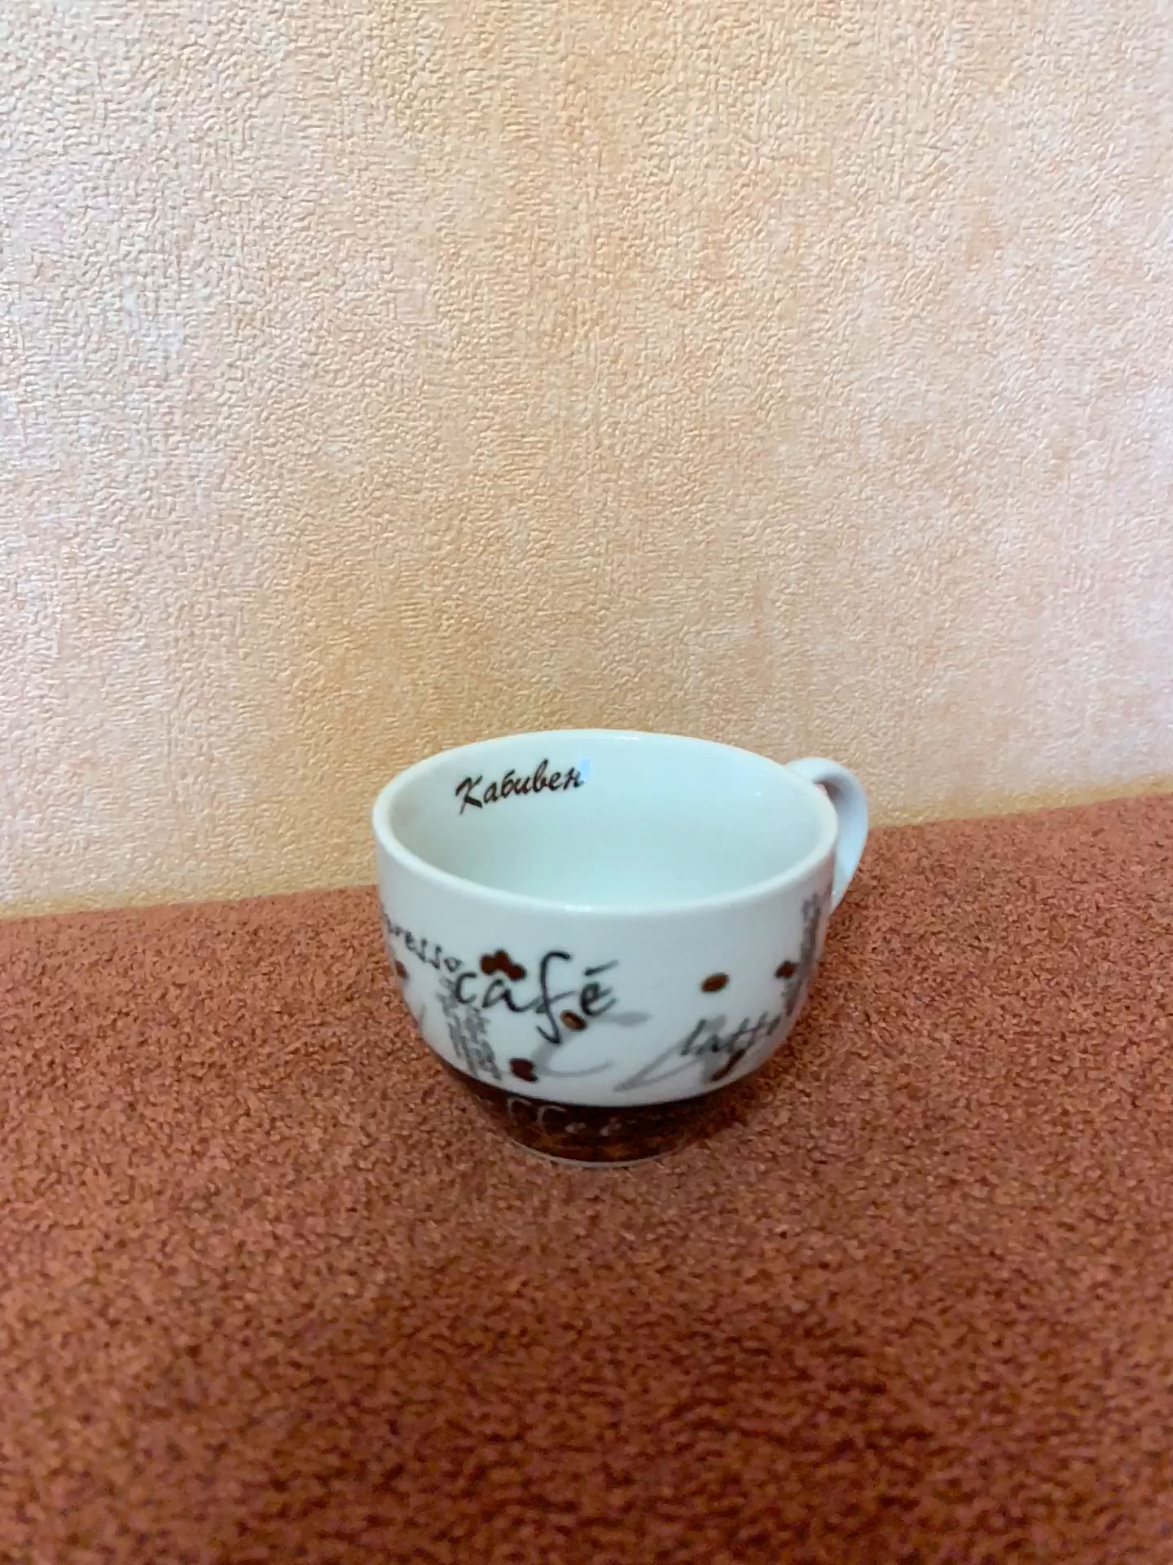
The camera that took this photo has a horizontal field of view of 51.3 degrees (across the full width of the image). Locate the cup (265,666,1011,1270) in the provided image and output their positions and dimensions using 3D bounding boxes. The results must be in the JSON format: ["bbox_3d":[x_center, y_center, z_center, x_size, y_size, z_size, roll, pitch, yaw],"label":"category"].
[{"bbox_3d":[0.007,0.018,0.179,0.083,0.040,0.065,-17,27,-34],"label":"cup"}]
